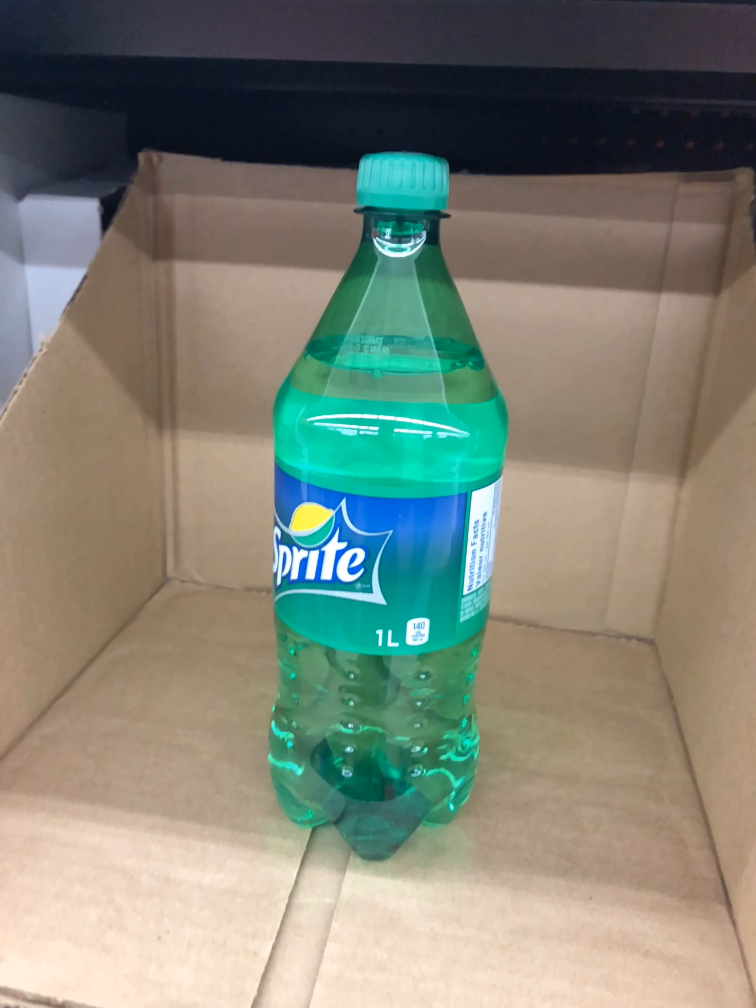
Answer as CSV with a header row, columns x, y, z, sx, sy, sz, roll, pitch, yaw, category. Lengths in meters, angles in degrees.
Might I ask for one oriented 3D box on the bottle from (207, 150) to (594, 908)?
x,y,z,sx,sy,sz,roll,pitch,yaw,category
0.005,0.005,0.314,0.090,0.248,0.090,2,22,-1,bottle
